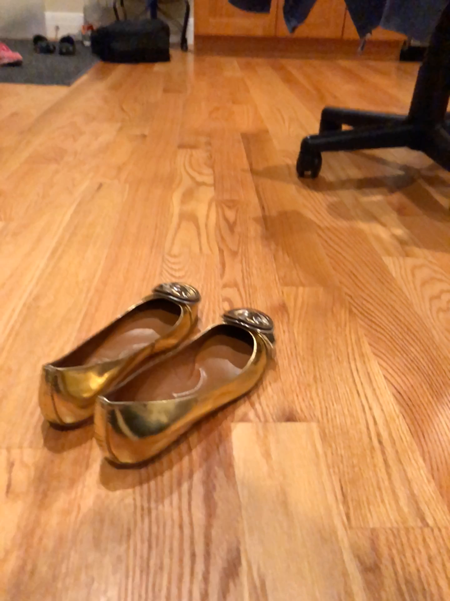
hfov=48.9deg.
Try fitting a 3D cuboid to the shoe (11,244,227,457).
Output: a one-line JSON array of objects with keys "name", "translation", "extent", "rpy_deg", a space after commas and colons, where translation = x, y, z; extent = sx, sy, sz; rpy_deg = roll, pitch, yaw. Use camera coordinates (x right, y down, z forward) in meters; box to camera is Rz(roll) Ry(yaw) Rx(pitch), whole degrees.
[{"name": "shoe", "translation": [-0.085, 0.030, 0.493], "extent": [0.083, 0.066, 0.245], "rpy_deg": [15, 34, 19]}]

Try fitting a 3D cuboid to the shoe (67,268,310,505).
[{"name": "shoe", "translation": [-0.016, 0.057, 0.454], "extent": [0.077, 0.066, 0.250], "rpy_deg": [22, 37, 27]}]
